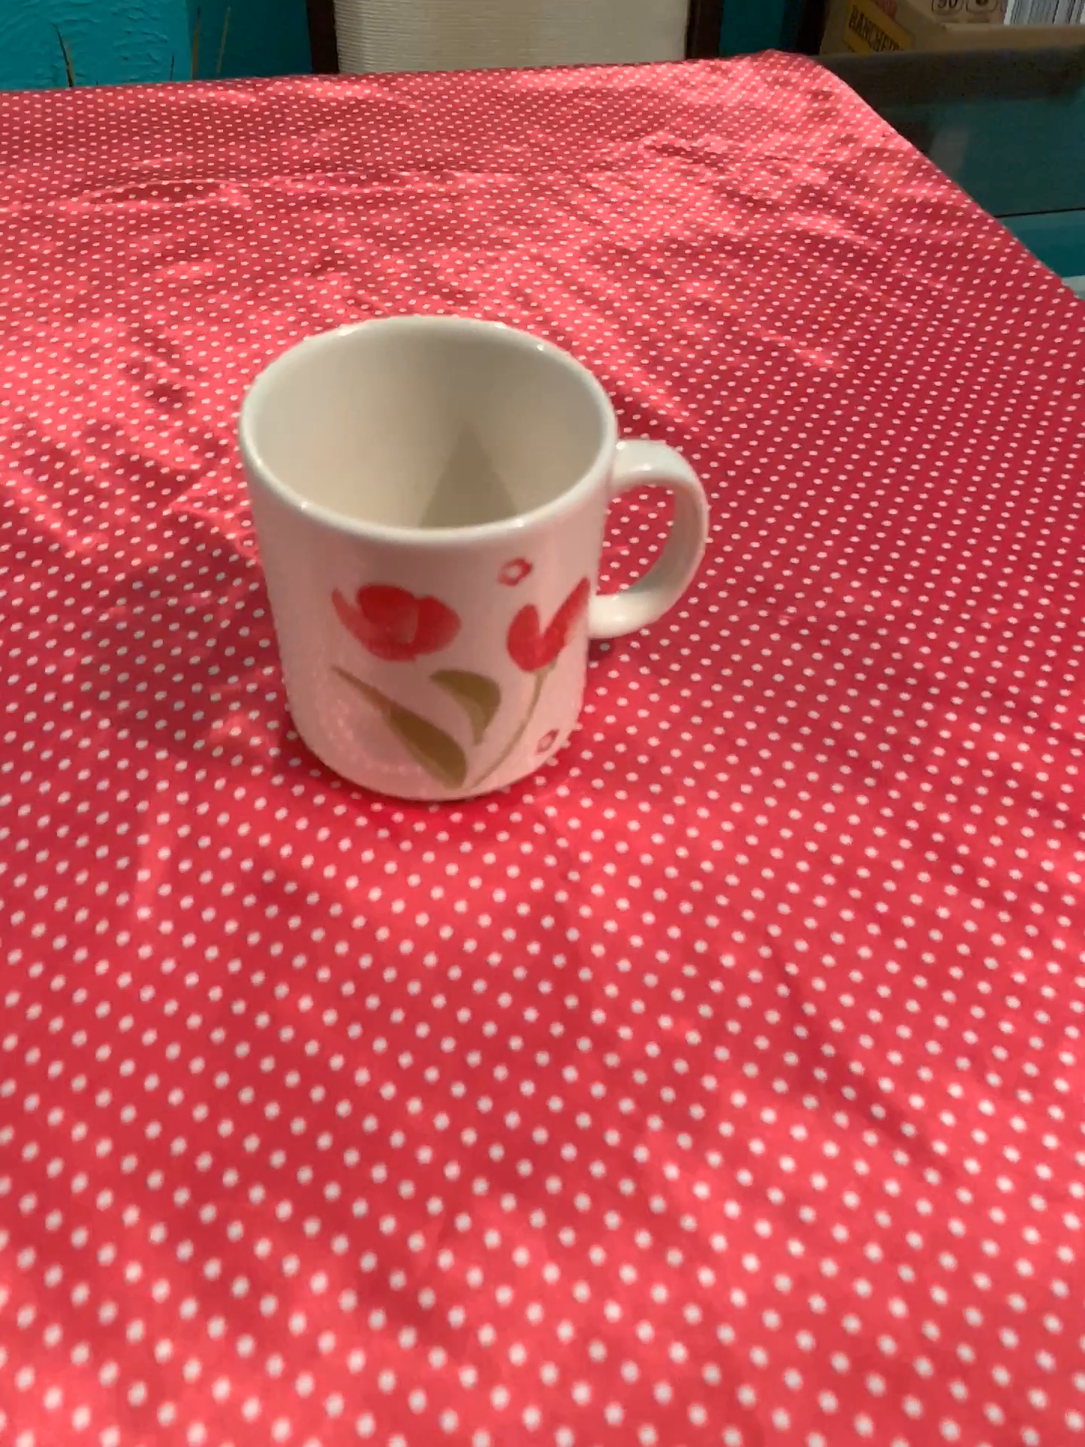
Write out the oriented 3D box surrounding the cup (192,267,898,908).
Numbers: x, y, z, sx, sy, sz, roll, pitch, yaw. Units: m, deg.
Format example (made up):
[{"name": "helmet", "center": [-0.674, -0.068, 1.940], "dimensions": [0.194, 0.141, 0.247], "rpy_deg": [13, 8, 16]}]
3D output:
[{"name": "cup", "center": [-0.005, -0.035, 0.262], "dimensions": [0.120, 0.090, 0.090], "rpy_deg": [-15, 53, -17]}]
